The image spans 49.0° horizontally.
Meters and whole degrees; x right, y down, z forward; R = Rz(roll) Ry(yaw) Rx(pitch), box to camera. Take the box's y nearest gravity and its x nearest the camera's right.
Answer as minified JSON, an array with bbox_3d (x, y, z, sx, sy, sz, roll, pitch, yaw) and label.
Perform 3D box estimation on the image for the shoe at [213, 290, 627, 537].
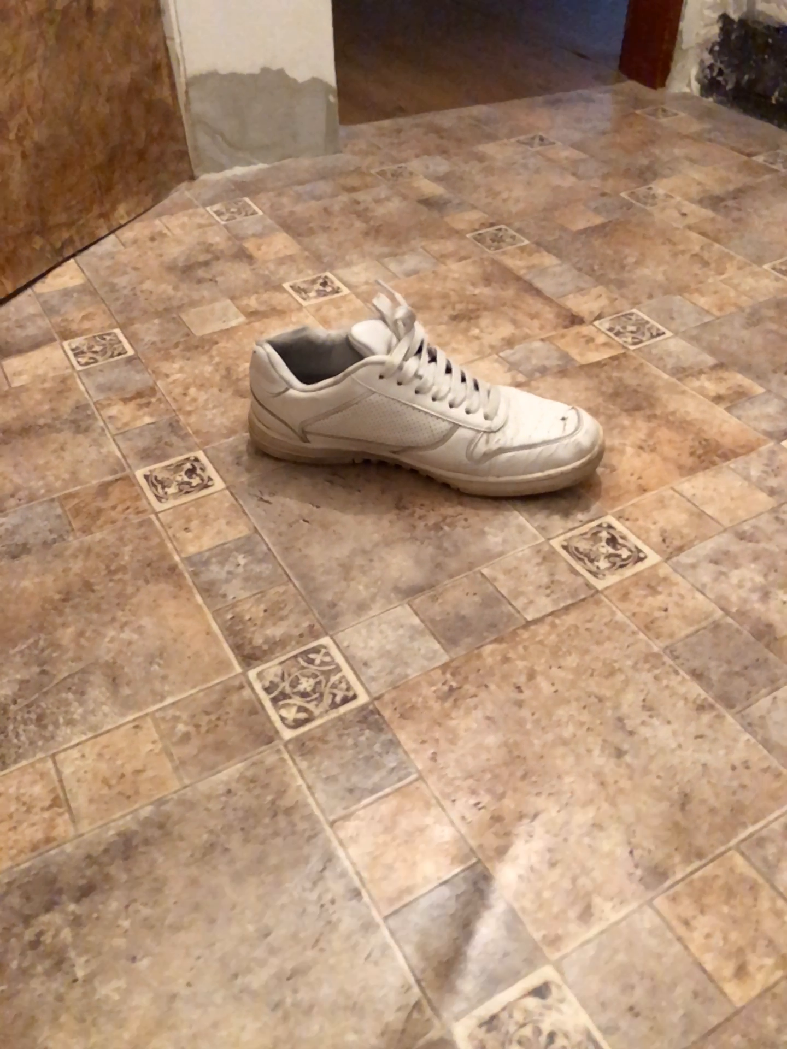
[{"bbox_3d":[0.025,-0.090,0.660,0.280,0.109,0.123,8,41,11],"label":"shoe"}]
